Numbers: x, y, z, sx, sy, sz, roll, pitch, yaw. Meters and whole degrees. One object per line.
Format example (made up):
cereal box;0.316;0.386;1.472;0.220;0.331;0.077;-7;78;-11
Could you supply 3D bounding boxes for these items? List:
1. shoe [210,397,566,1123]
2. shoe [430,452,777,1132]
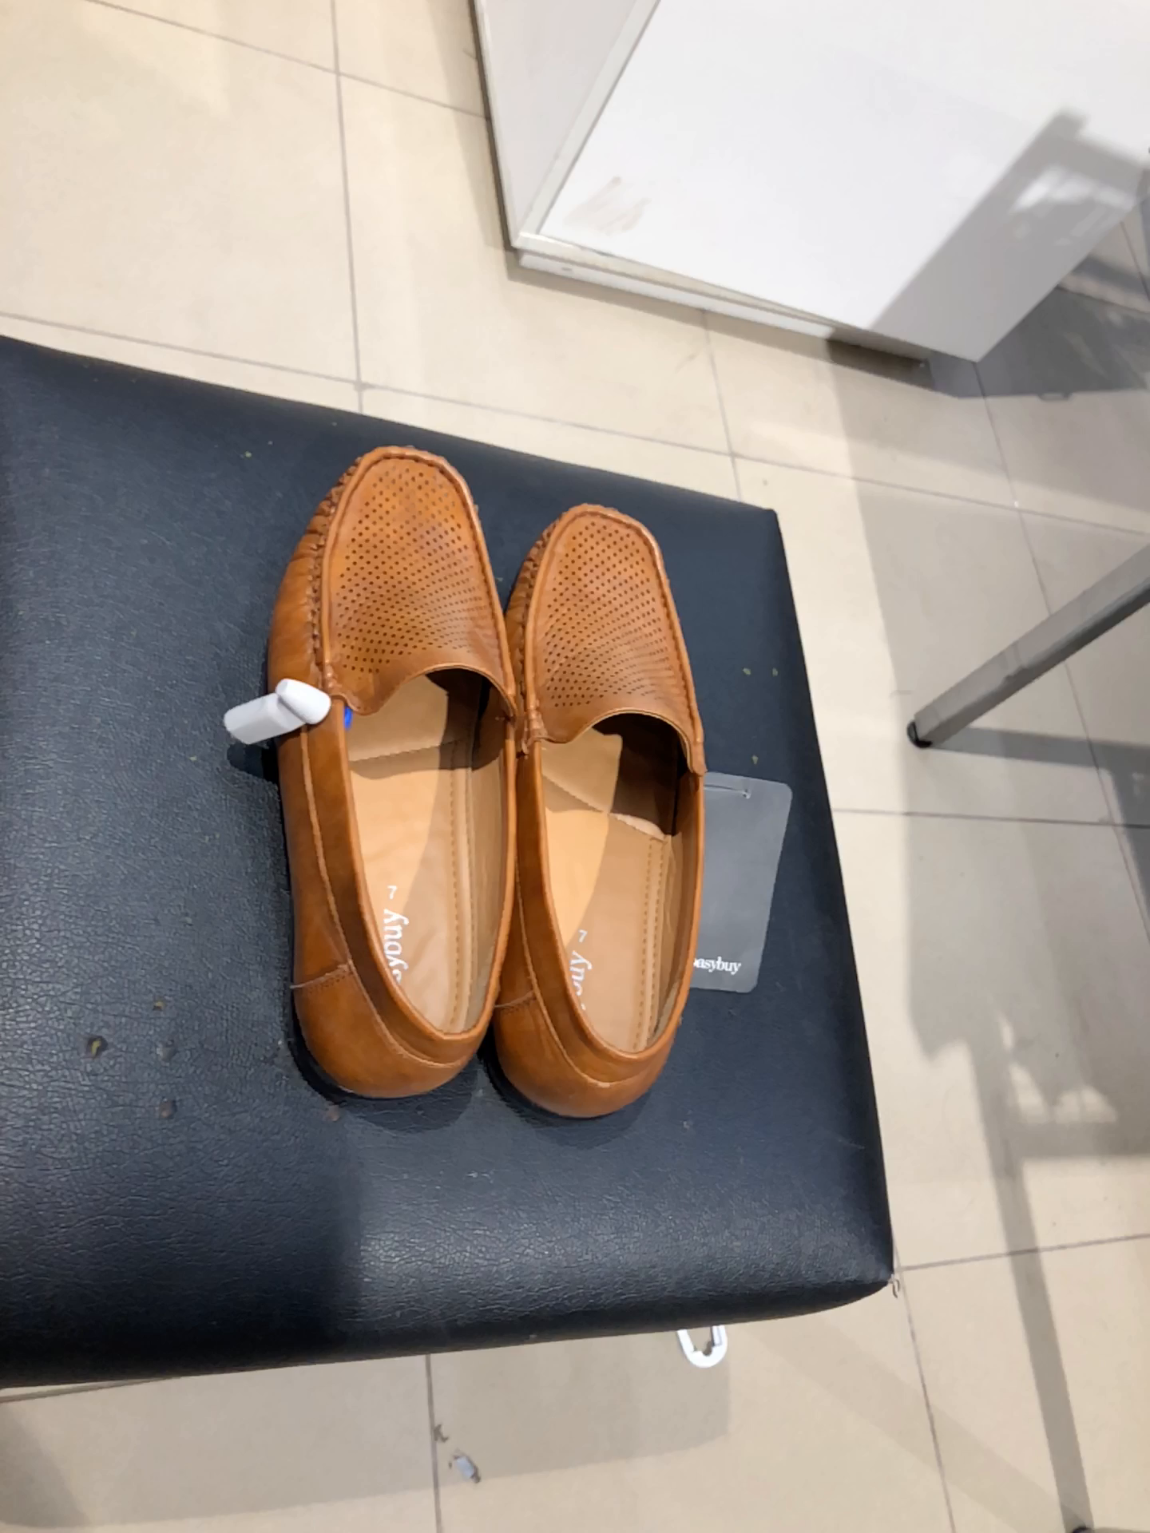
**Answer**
shoe;-0.070;-0.001;0.494;0.098;0.096;0.253;10;62;-23
shoe;0.013;0.010;0.532;0.098;0.096;0.253;14;61;-21
